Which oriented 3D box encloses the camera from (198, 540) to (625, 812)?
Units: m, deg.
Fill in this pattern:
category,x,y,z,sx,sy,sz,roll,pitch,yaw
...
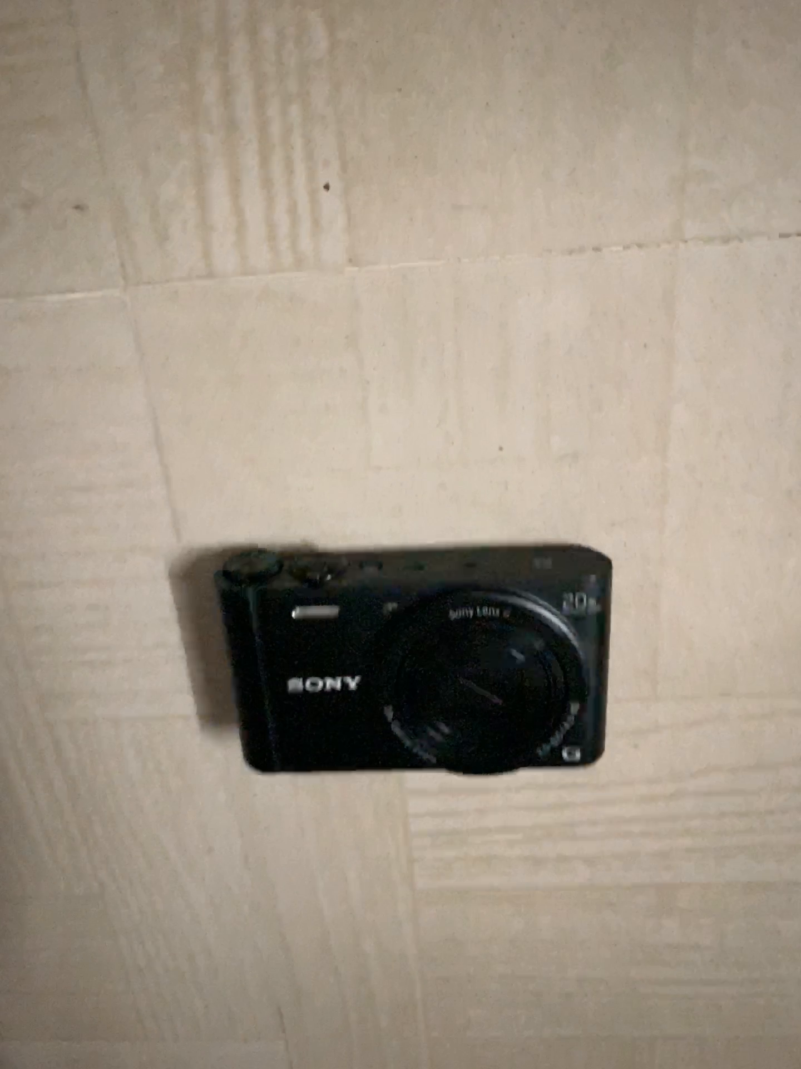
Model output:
category,x,y,z,sx,sy,sz,roll,pitch,yaw
camera,0.004,0.036,0.204,0.092,0.025,0.060,-2,116,5
